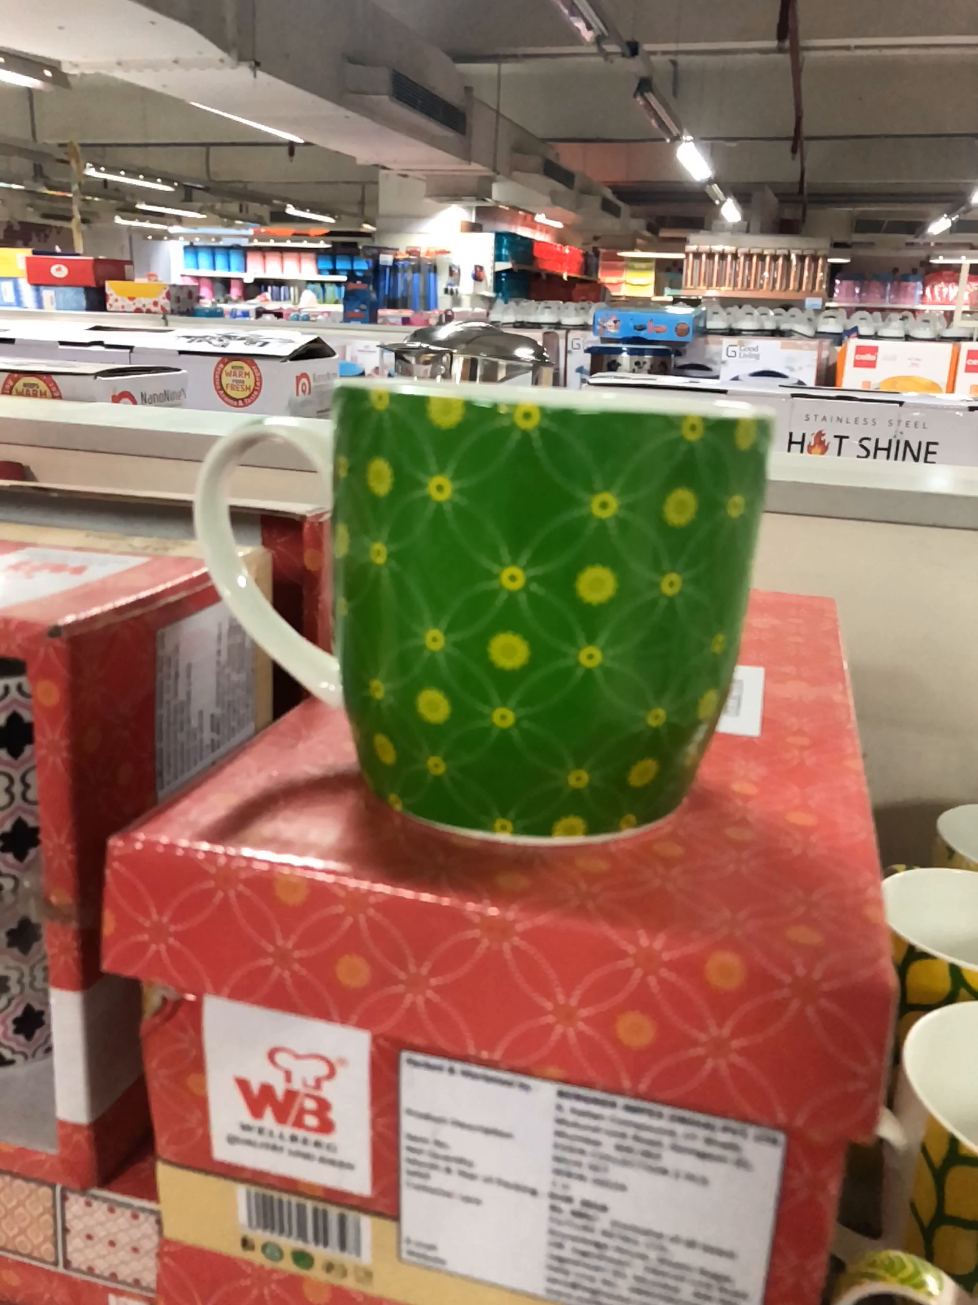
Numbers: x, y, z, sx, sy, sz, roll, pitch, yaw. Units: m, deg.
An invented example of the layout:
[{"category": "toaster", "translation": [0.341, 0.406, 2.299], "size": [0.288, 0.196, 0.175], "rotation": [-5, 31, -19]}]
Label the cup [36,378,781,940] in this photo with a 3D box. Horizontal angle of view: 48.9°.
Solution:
[{"category": "cup", "translation": [-0.007, -0.011, 0.217], "size": [0.120, 0.080, 0.090], "rotation": [6, 16, 14]}]
